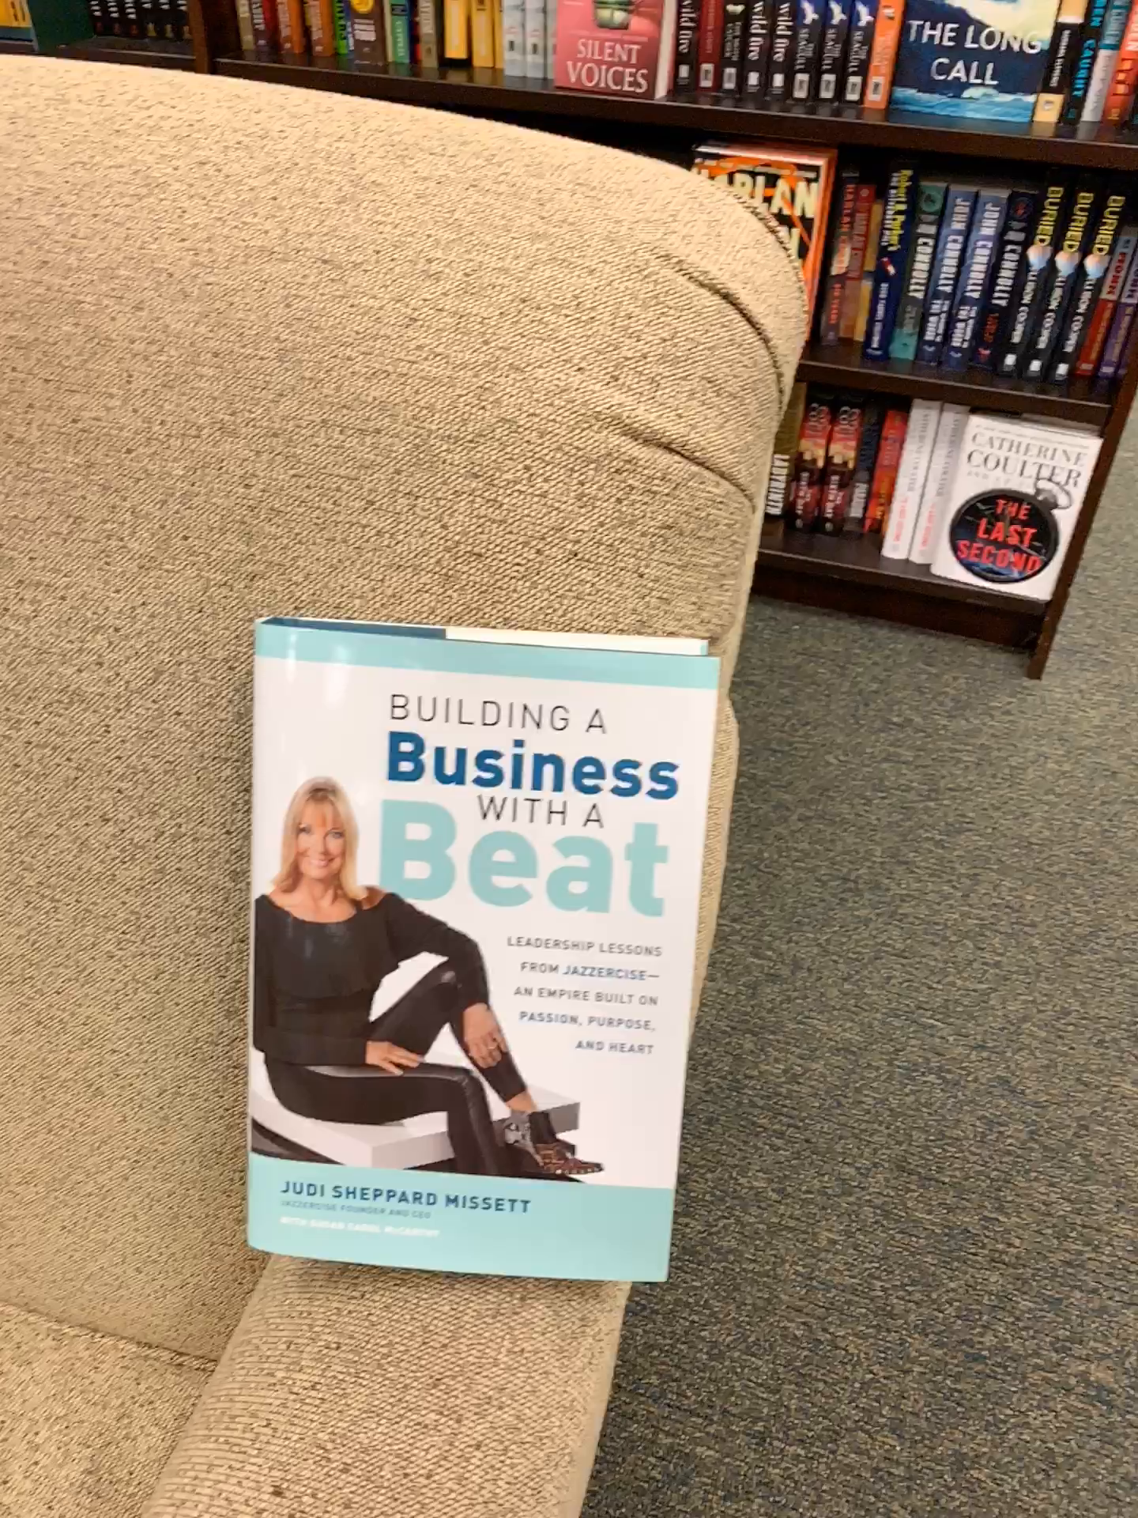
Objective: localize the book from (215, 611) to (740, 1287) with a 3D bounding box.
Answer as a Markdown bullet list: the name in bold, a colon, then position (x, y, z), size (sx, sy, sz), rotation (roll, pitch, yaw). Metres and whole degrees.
- **book**: position (-0.033, 0.067, 0.417), size (0.170, 0.230, 0.040), rotation (3, 12, 4)
